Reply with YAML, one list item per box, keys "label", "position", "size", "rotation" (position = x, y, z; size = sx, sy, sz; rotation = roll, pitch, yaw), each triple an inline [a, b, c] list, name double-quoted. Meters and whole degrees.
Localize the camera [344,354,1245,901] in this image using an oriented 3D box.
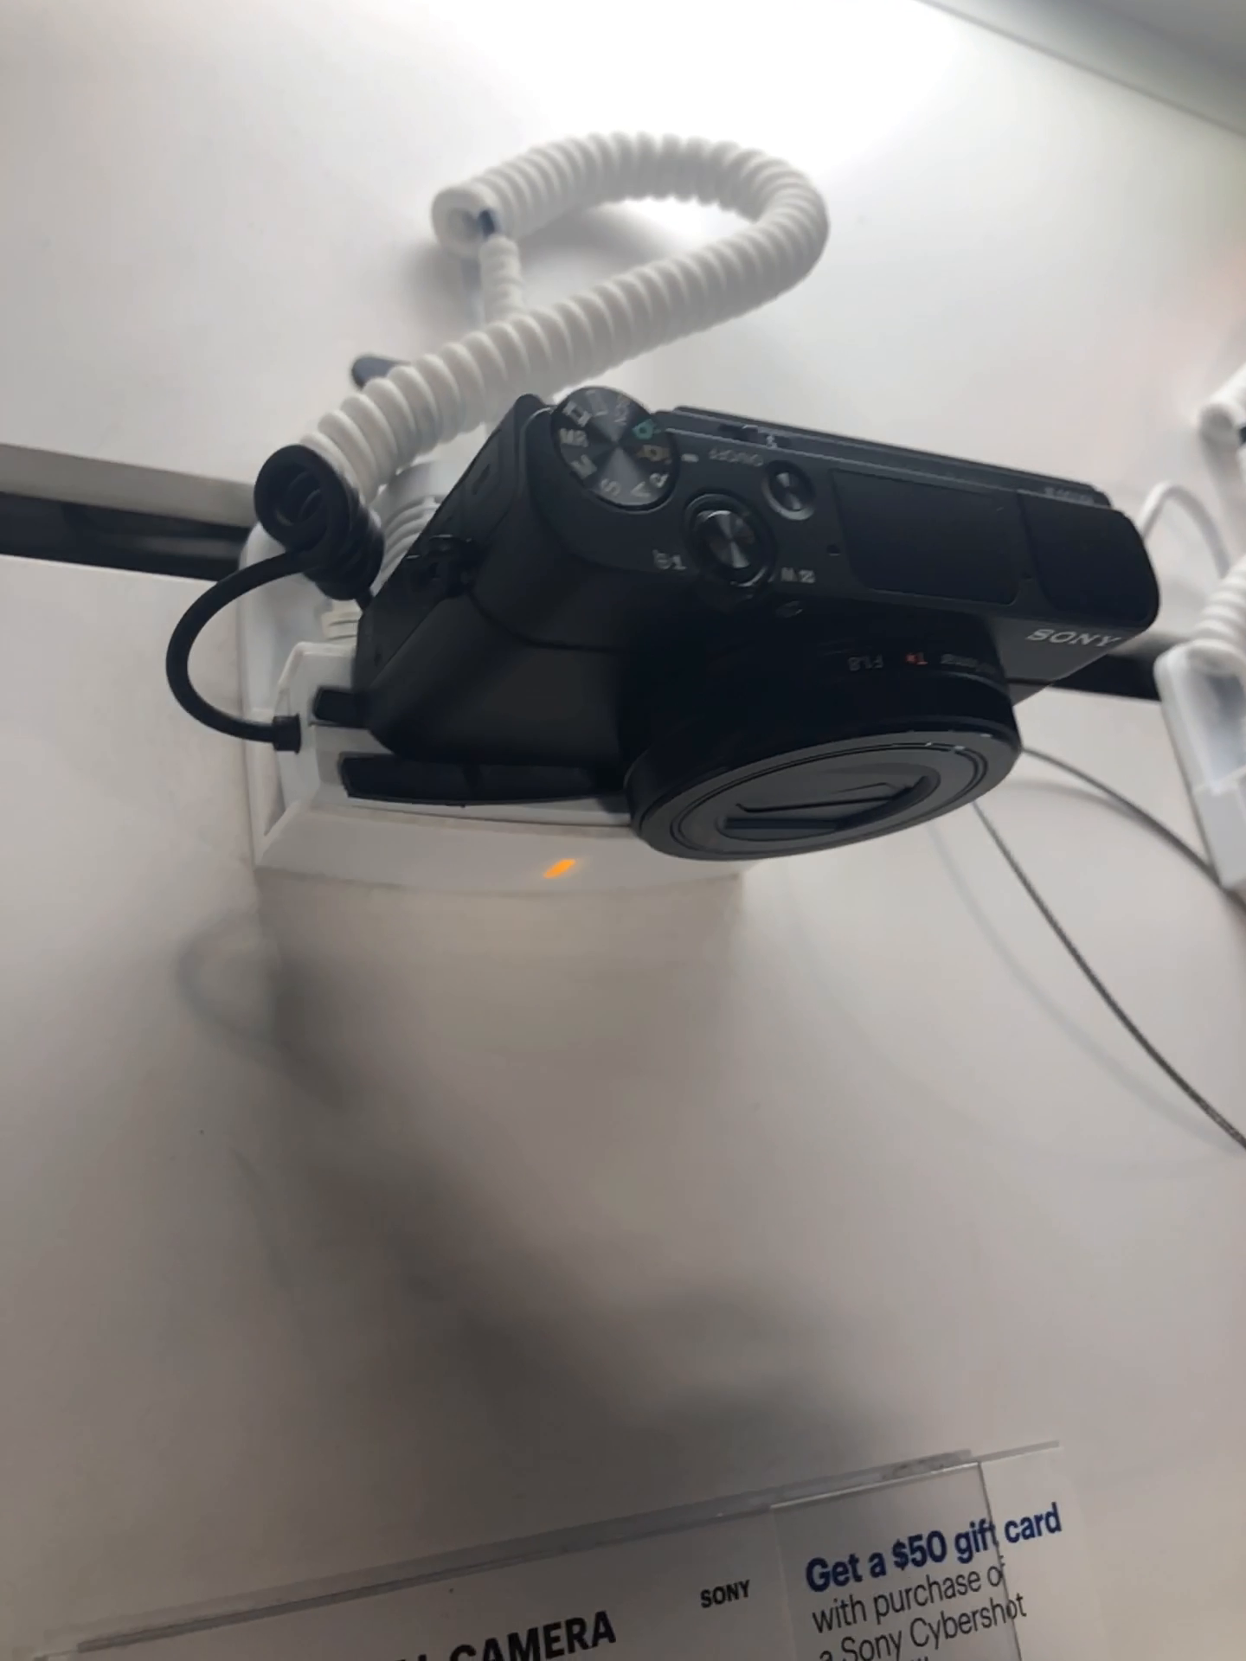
- label: "camera"
  position: [0.023, -0.020, 0.181]
  size: [0.102, 0.051, 0.041]
  rotation: [0, 68, -29]
